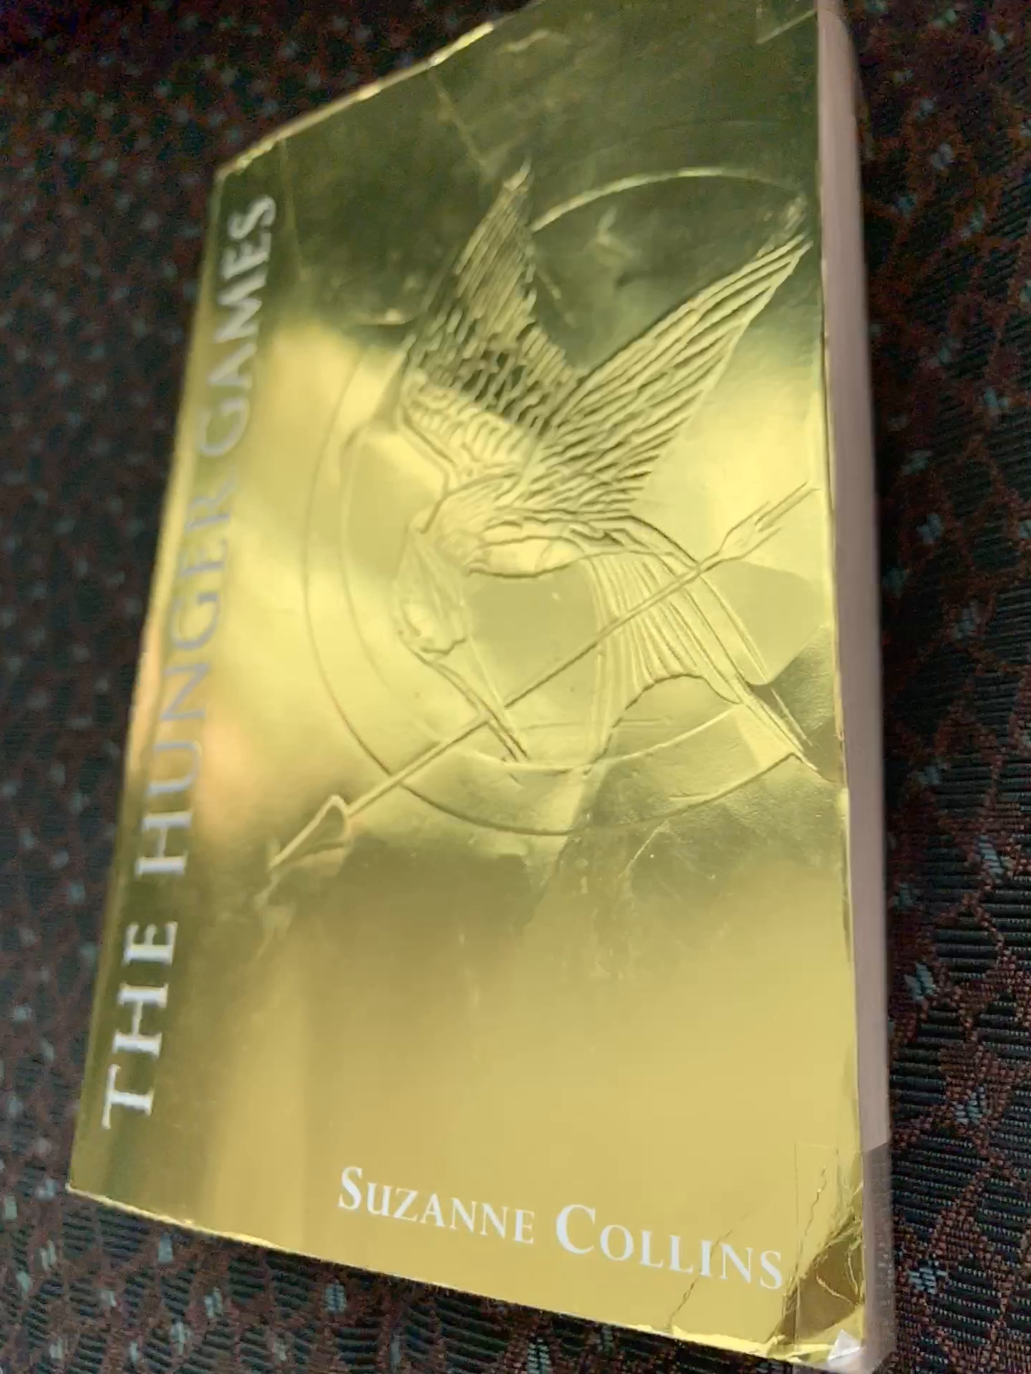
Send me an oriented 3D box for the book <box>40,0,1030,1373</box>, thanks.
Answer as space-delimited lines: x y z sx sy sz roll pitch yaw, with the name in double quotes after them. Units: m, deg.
-0.002 -0.017 0.183 0.142 0.037 0.200 -7 71 31 "book"
